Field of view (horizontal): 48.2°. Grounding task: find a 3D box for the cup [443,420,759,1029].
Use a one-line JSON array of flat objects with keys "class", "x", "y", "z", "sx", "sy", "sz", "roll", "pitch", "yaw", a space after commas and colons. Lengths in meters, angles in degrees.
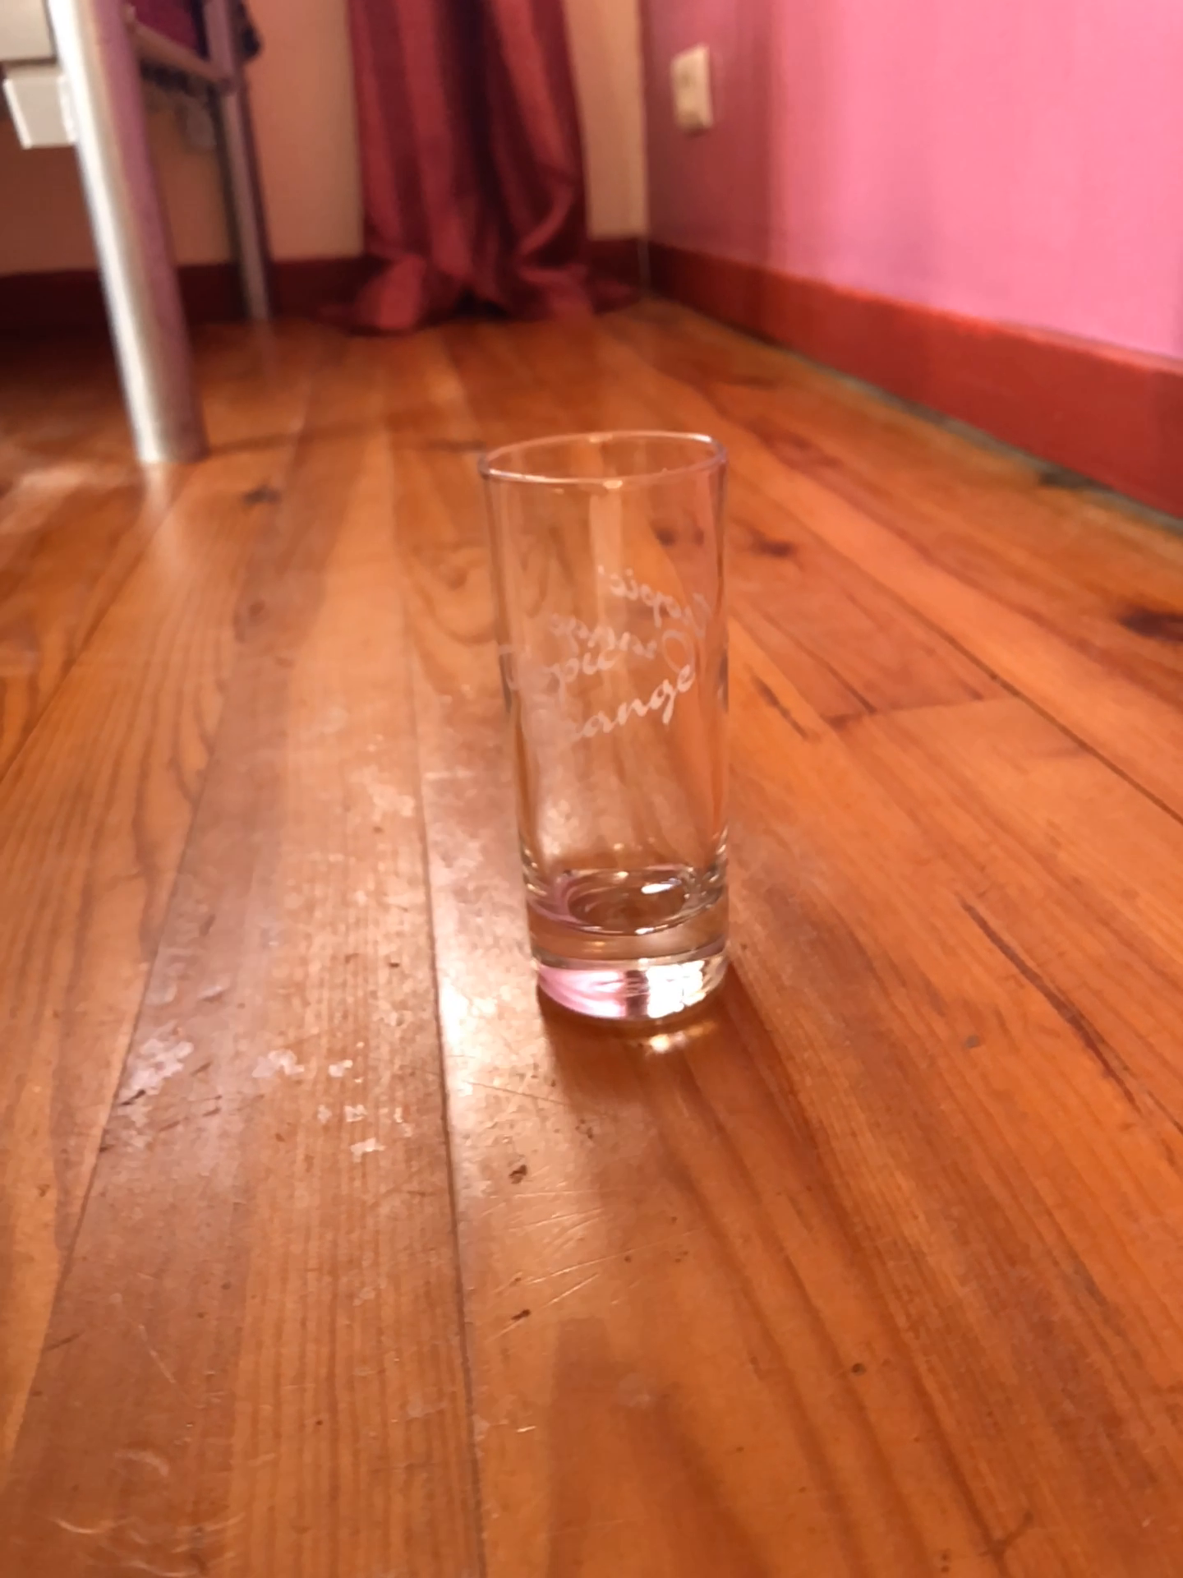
[{"class": "cup", "x": 0.008, "y": -0.015, "z": 0.300, "sx": 0.056, "sy": 0.124, "sz": 0.056, "roll": -4, "pitch": 23, "yaw": 2}]
